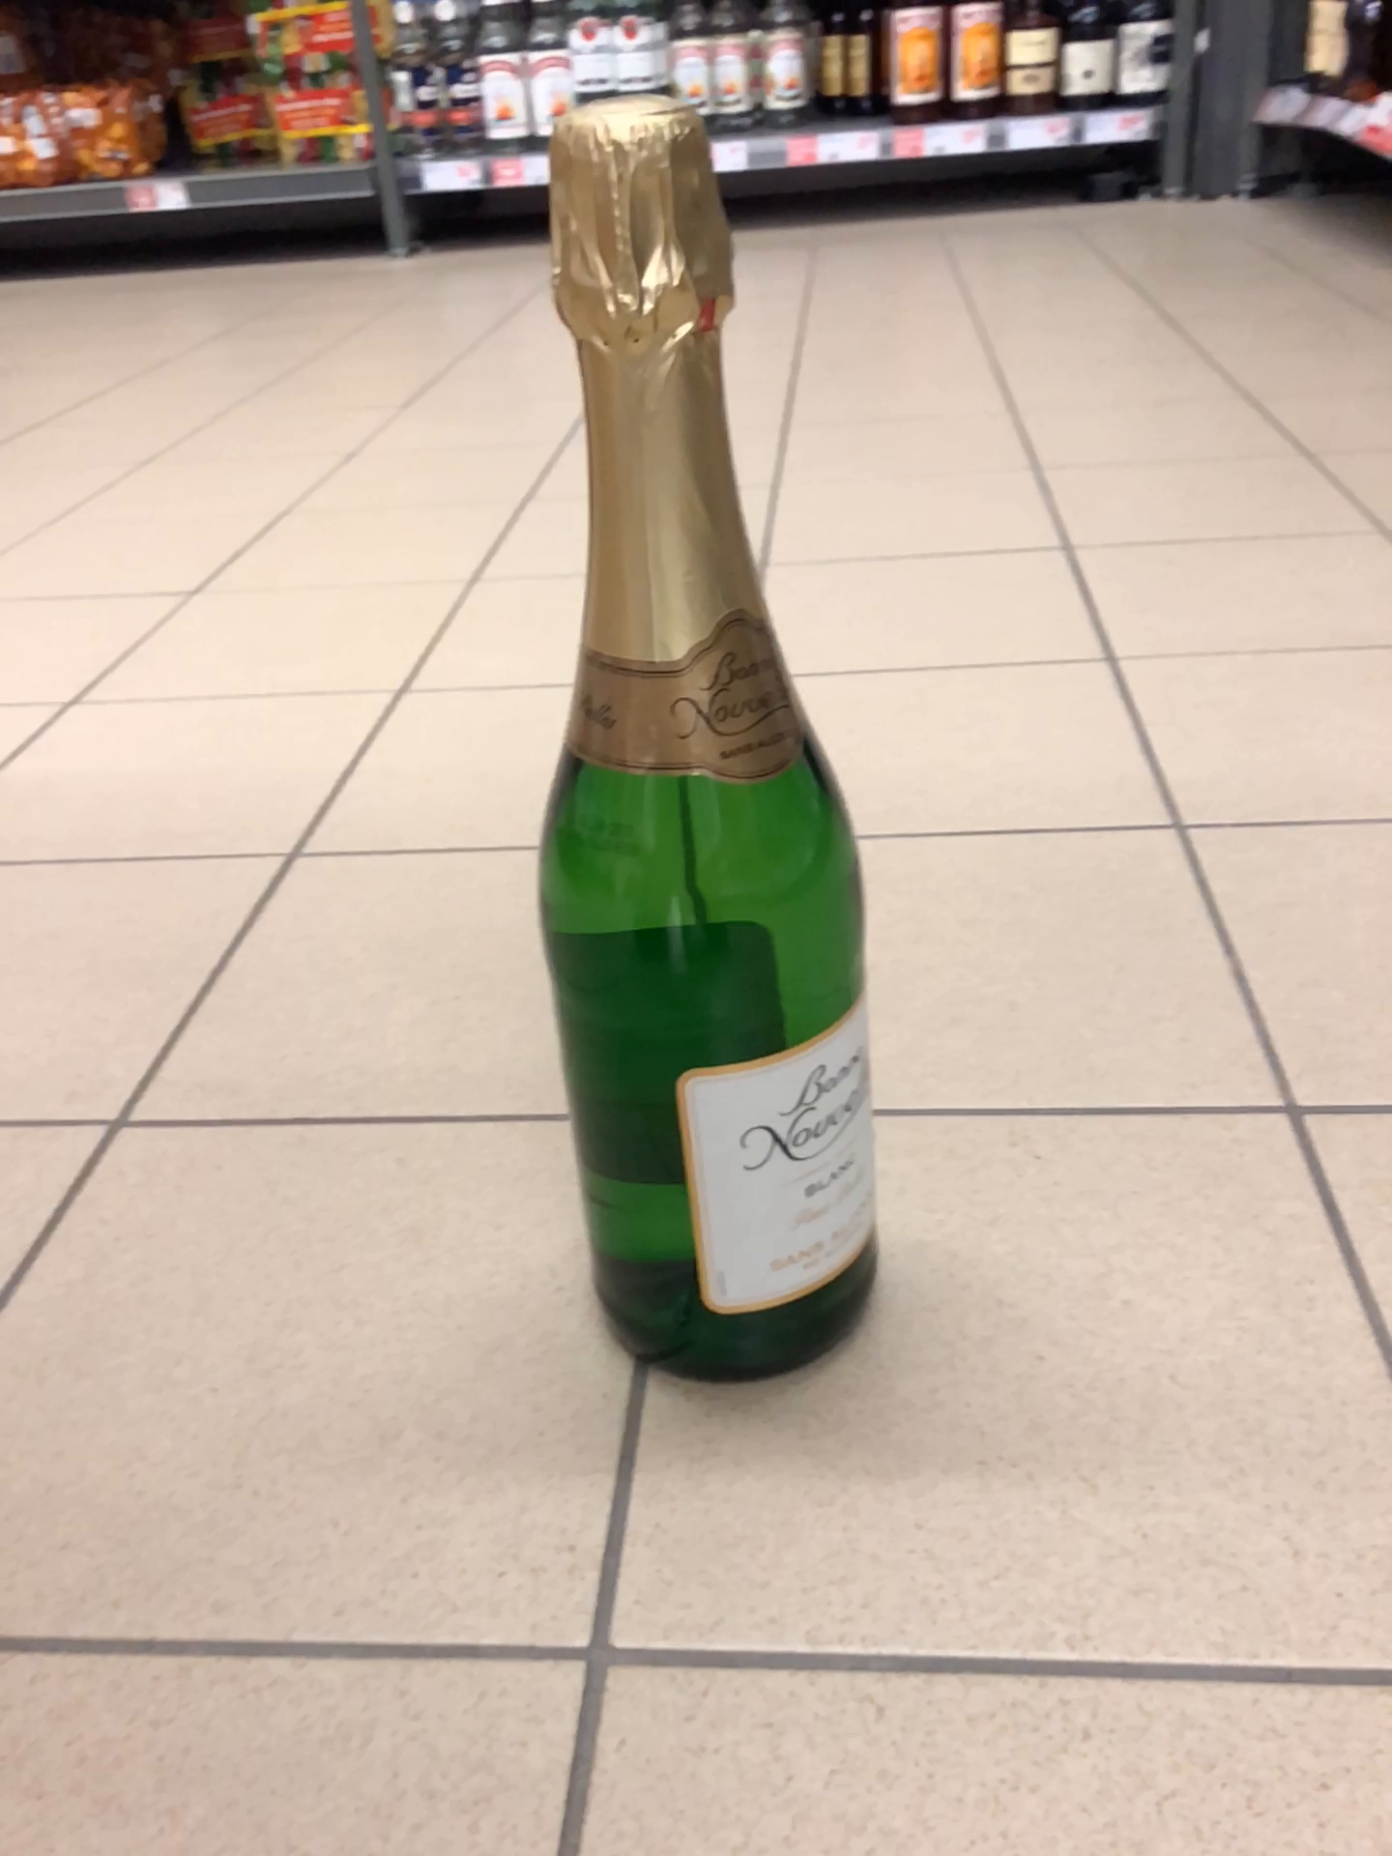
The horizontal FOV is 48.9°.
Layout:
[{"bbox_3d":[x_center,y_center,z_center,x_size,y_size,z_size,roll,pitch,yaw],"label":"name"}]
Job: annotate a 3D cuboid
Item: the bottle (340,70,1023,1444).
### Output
[{"bbox_3d":[0.010,-0.033,0.373,0.090,0.298,0.101,21,39,38],"label":"bottle"}]
